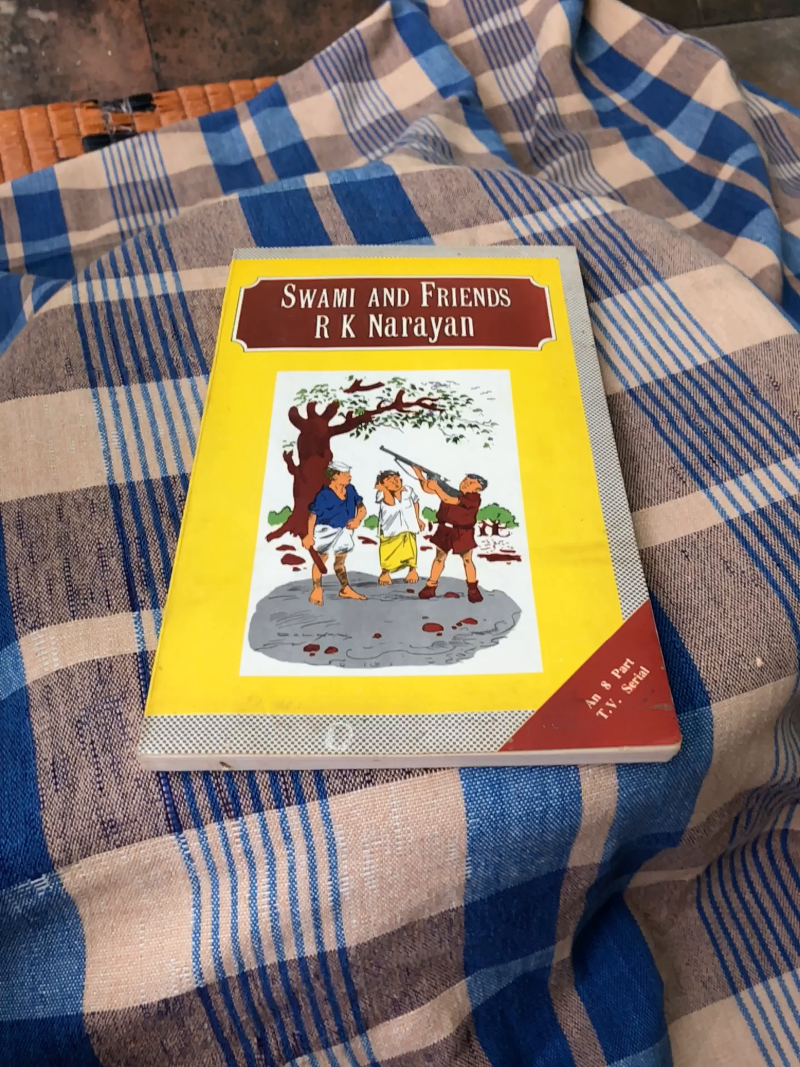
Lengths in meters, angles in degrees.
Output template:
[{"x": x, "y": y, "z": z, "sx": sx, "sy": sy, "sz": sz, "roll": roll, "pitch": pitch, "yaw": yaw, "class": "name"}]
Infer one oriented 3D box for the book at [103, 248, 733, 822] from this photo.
[{"x": 0.004, "y": -0.016, "z": 0.252, "sx": 0.130, "sy": 0.020, "sz": 0.191, "roll": 0, "pitch": 51, "yaw": 1, "class": "book"}]
